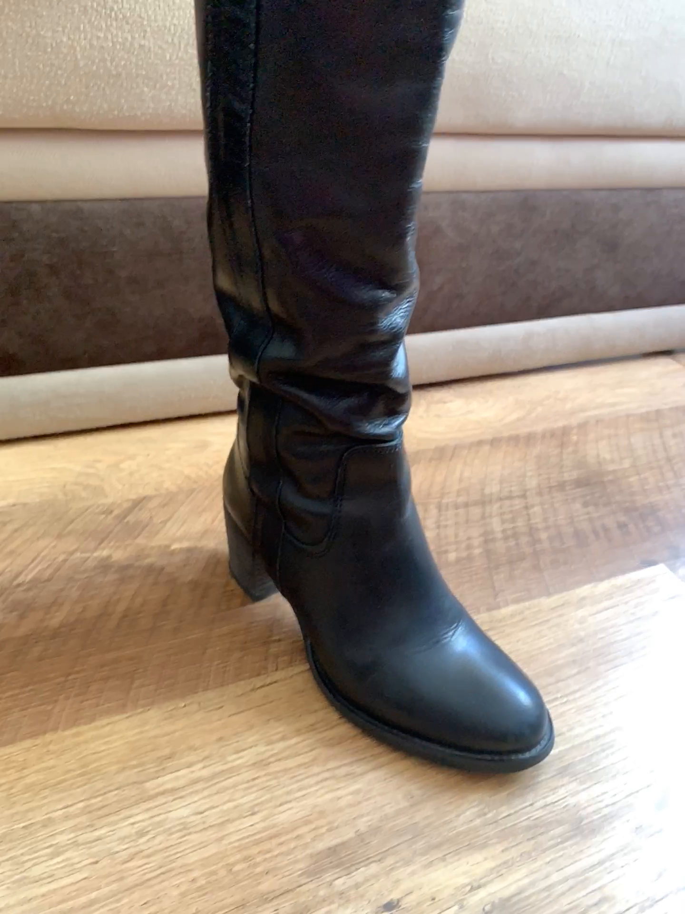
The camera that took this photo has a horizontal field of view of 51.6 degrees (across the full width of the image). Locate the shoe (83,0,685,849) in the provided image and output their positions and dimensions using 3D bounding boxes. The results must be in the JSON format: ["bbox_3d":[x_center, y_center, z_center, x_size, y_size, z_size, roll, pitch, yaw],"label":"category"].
[{"bbox_3d":[0.035,-0.103,0.262,0.211,0.497,0.100,29,39,33],"label":"shoe"}]
